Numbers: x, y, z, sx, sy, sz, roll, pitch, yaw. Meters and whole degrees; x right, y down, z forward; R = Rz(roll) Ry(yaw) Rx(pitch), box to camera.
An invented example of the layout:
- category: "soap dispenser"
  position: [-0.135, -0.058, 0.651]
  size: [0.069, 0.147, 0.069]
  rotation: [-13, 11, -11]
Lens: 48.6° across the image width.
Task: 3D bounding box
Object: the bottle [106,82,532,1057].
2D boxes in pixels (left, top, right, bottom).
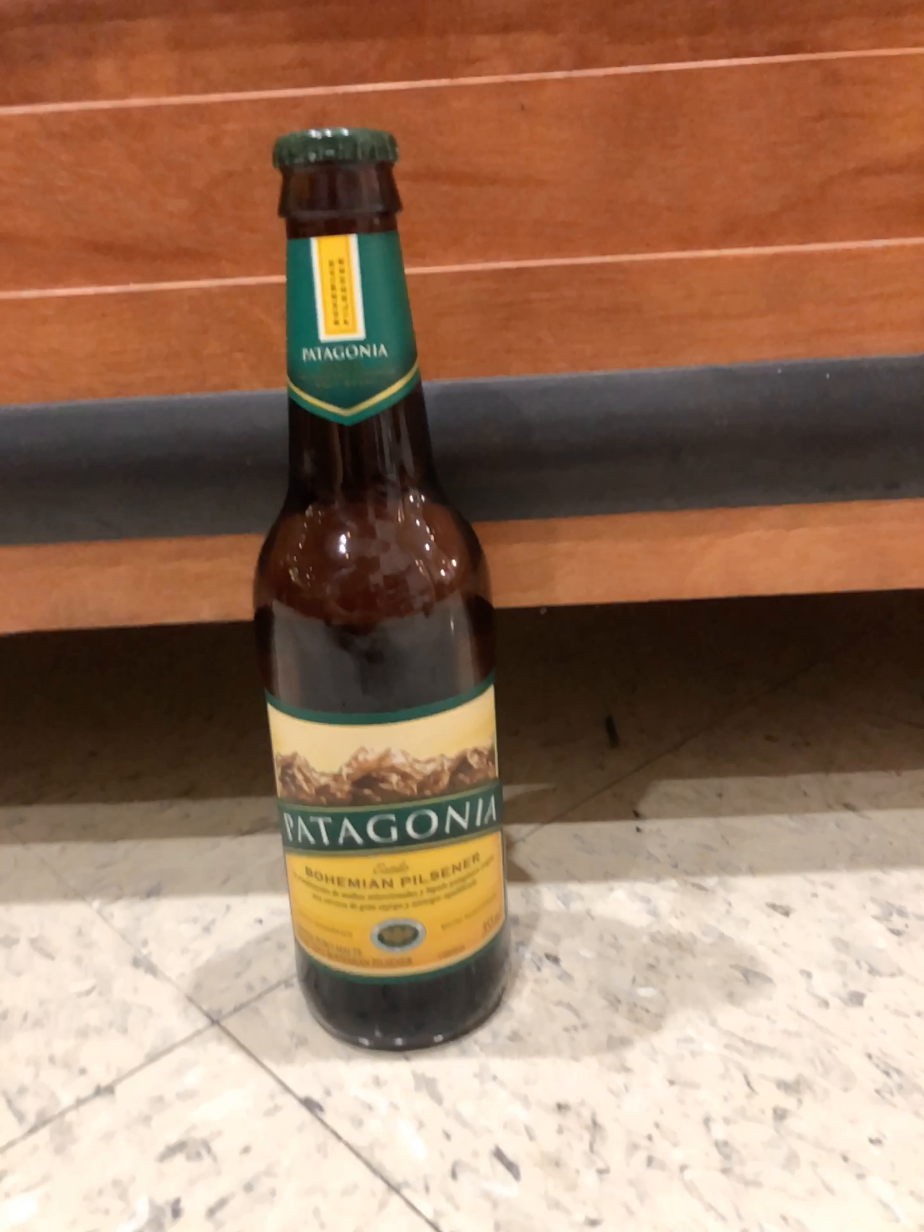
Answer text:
- category: "bottle"
  position: [-0.023, -0.002, 0.251]
  size: [0.070, 0.219, 0.060]
  rotation: [-3, 20, 3]
